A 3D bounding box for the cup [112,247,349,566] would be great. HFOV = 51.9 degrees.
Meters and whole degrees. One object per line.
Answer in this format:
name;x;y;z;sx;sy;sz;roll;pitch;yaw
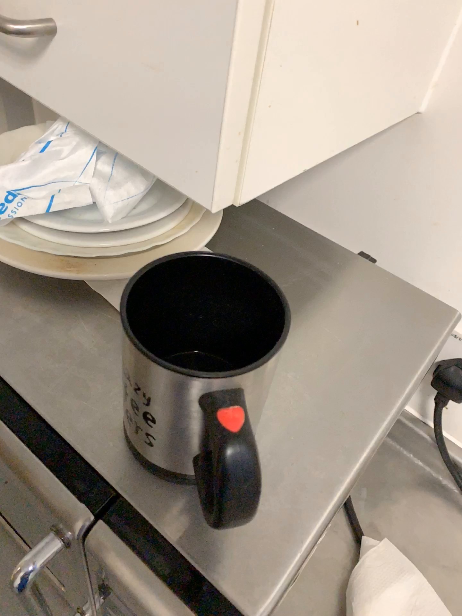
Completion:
cup;-0.016;0.050;0.271;0.096;0.108;0.134;-1;45;-12
